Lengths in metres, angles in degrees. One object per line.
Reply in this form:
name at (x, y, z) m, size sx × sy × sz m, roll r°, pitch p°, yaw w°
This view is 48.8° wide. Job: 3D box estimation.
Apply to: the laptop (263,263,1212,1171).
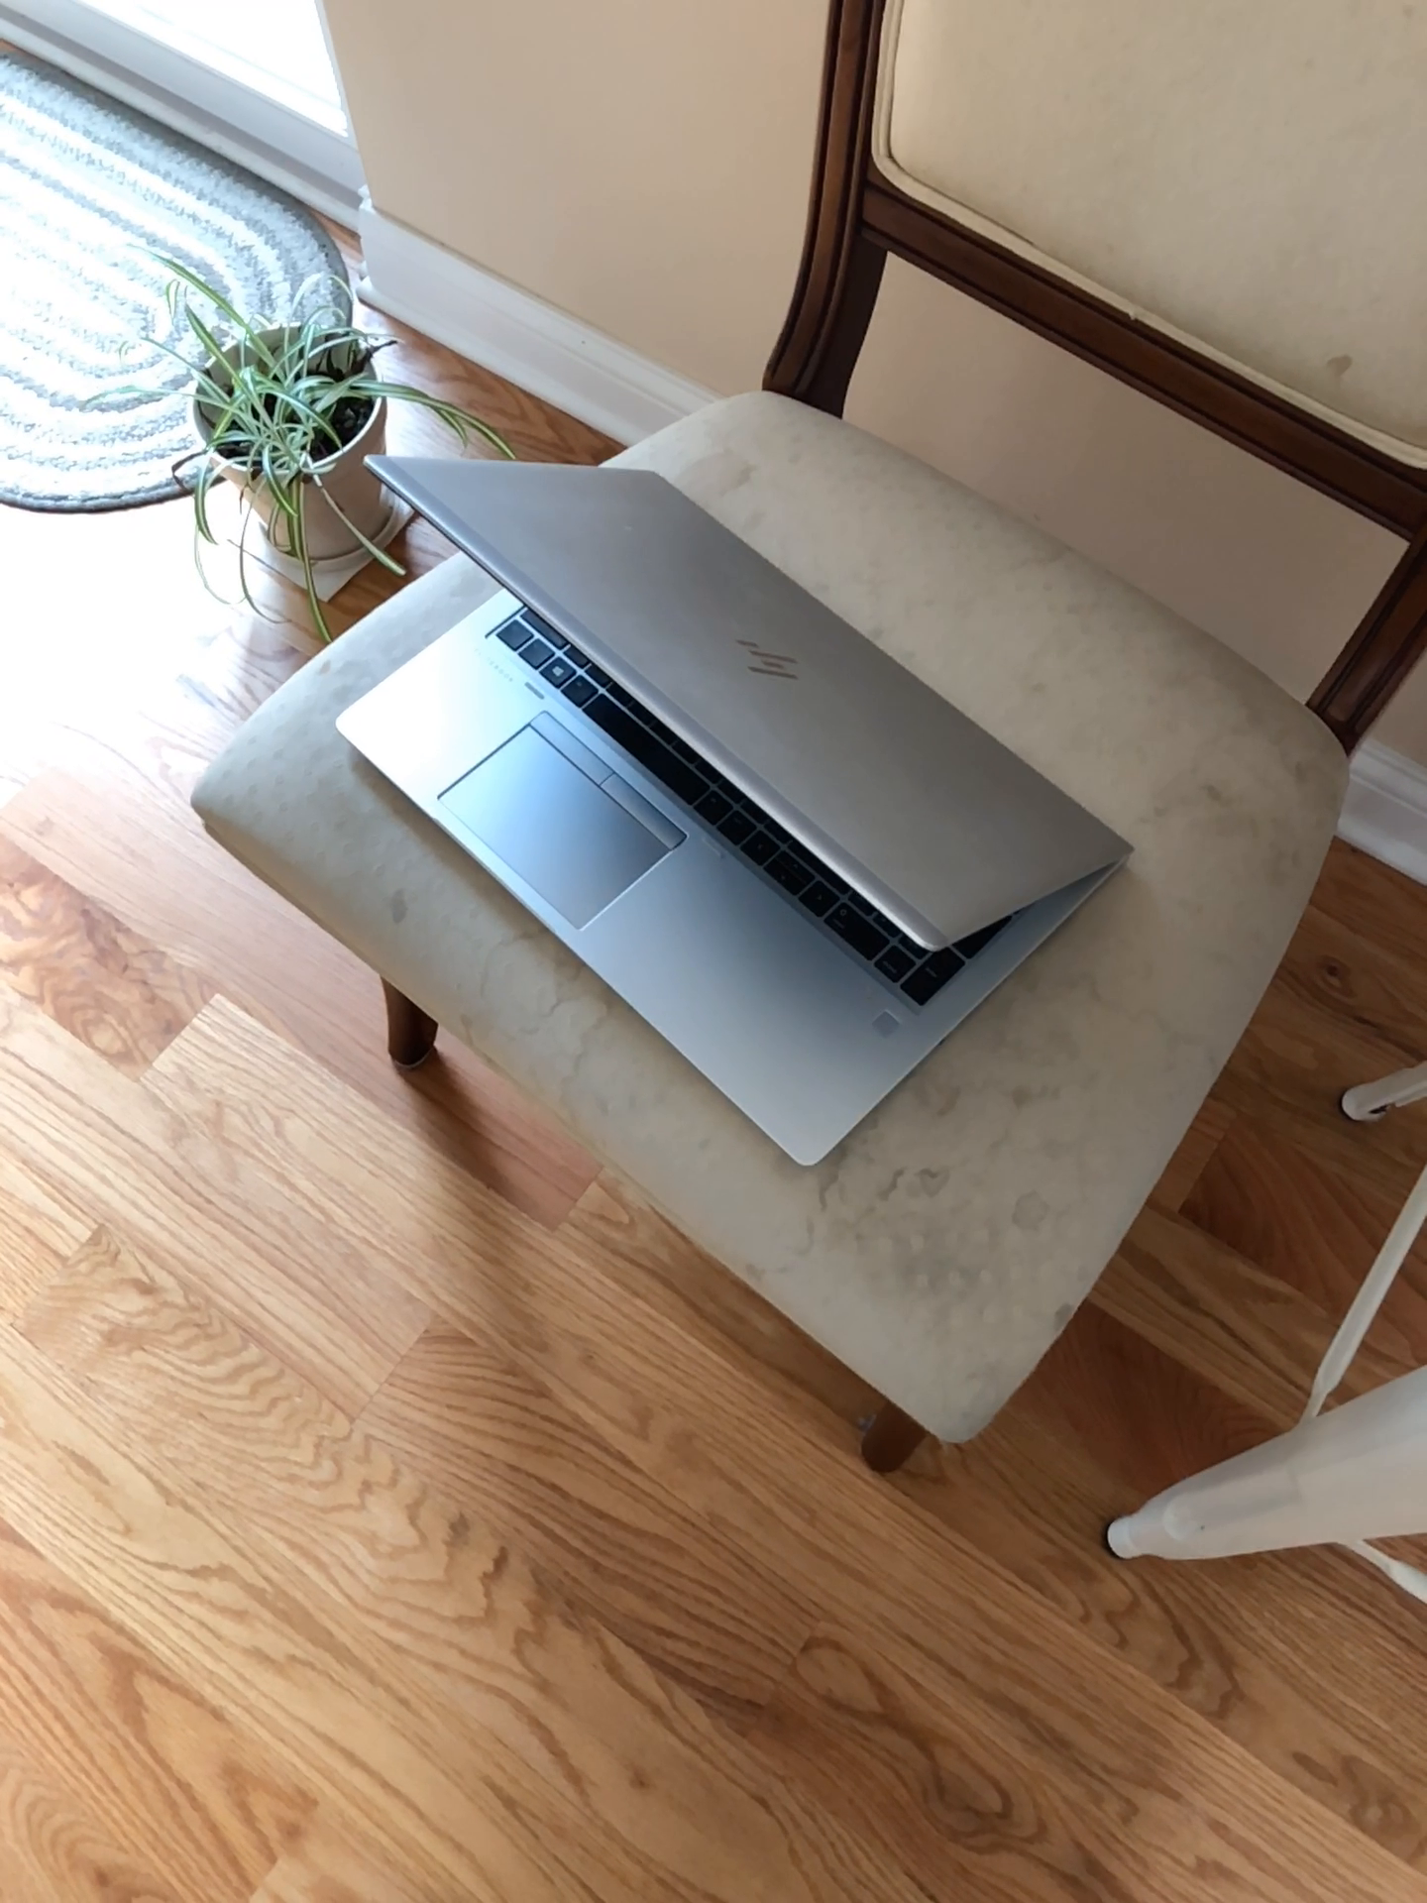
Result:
laptop at (0.005, -0.123, 0.784) m, size 0.244 × 0.159 × 0.366 m, roll -42°, pitch 71°, yaw -16°
